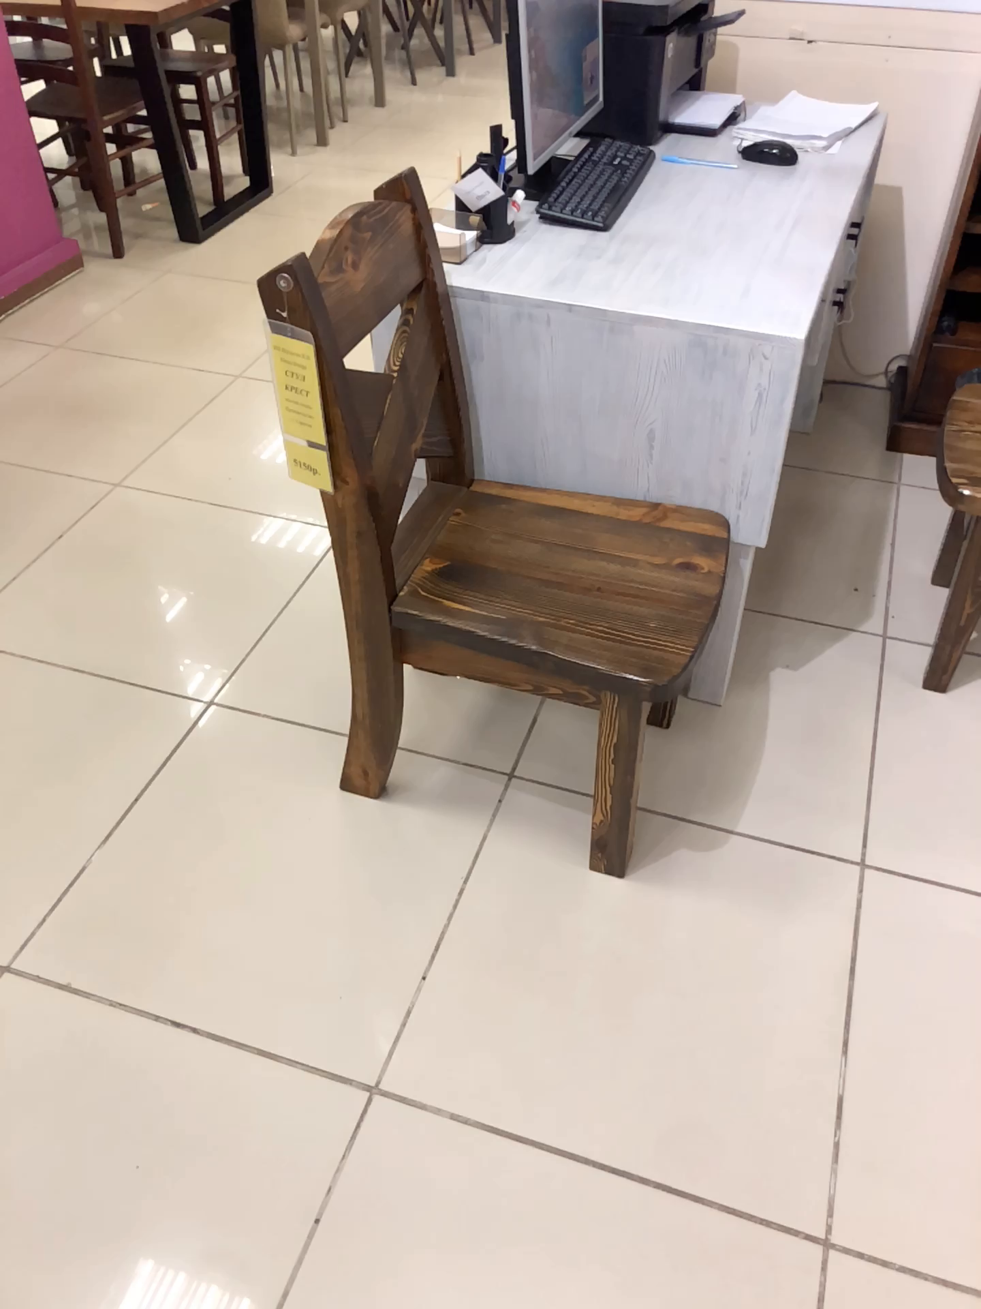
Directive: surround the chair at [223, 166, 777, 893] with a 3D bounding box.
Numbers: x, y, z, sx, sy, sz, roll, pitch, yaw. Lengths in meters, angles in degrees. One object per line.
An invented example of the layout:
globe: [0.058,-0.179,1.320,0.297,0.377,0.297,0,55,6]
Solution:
chair: [0.040,-0.166,1.613,0.570,0.896,0.452,11,42,14]
